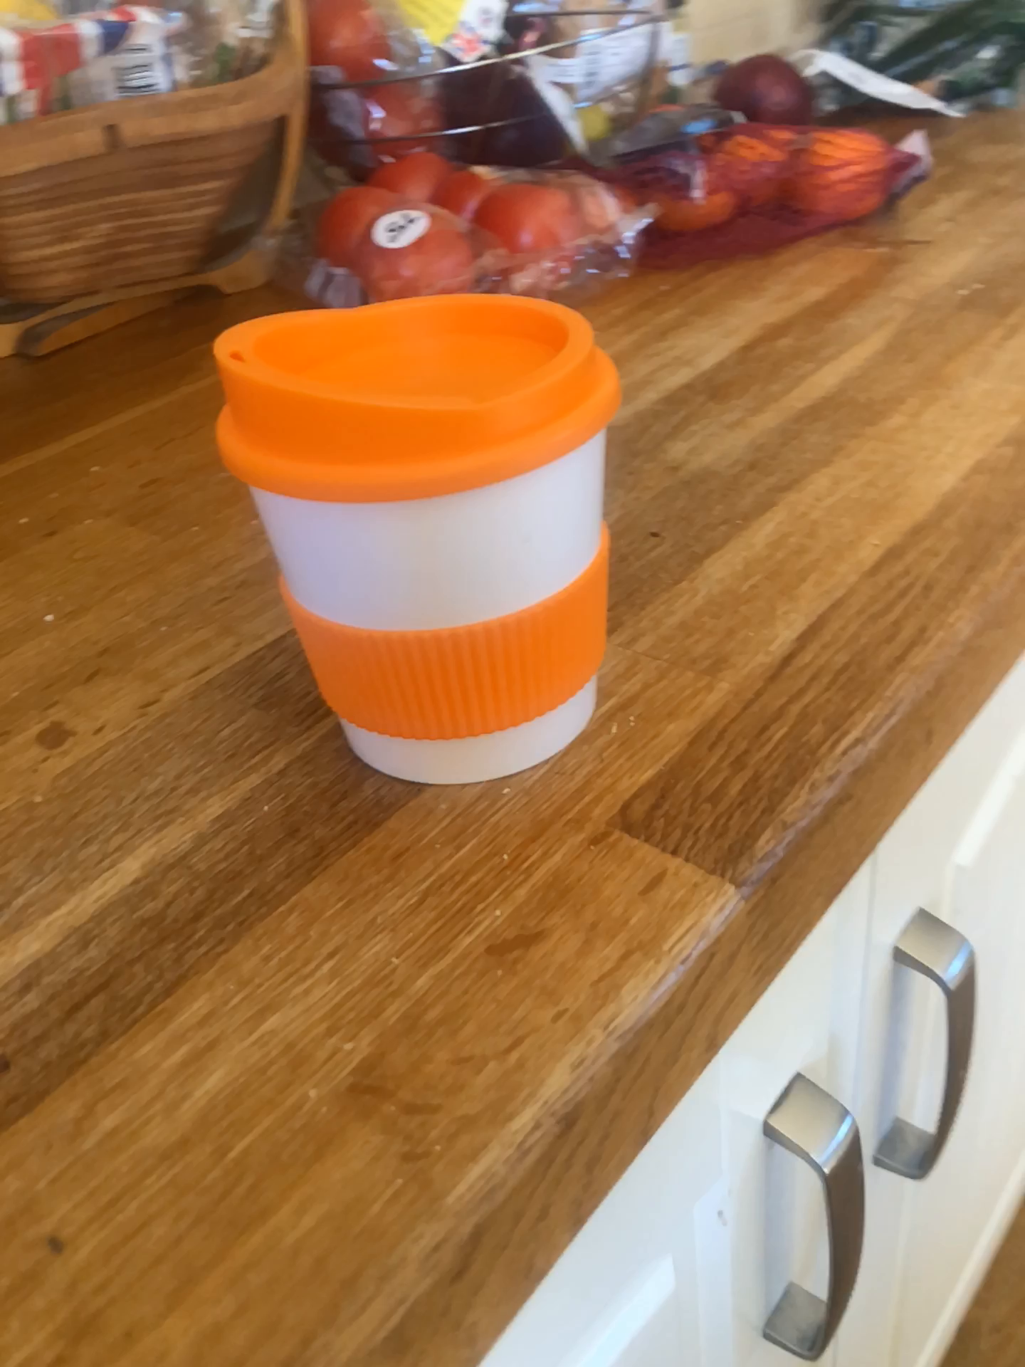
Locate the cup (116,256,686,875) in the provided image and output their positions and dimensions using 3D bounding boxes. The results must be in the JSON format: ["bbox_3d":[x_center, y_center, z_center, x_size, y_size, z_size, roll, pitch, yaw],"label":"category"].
[{"bbox_3d":[-0.023,-0.032,0.251,0.089,0.089,0.081,-5,34,4],"label":"cup"}]
